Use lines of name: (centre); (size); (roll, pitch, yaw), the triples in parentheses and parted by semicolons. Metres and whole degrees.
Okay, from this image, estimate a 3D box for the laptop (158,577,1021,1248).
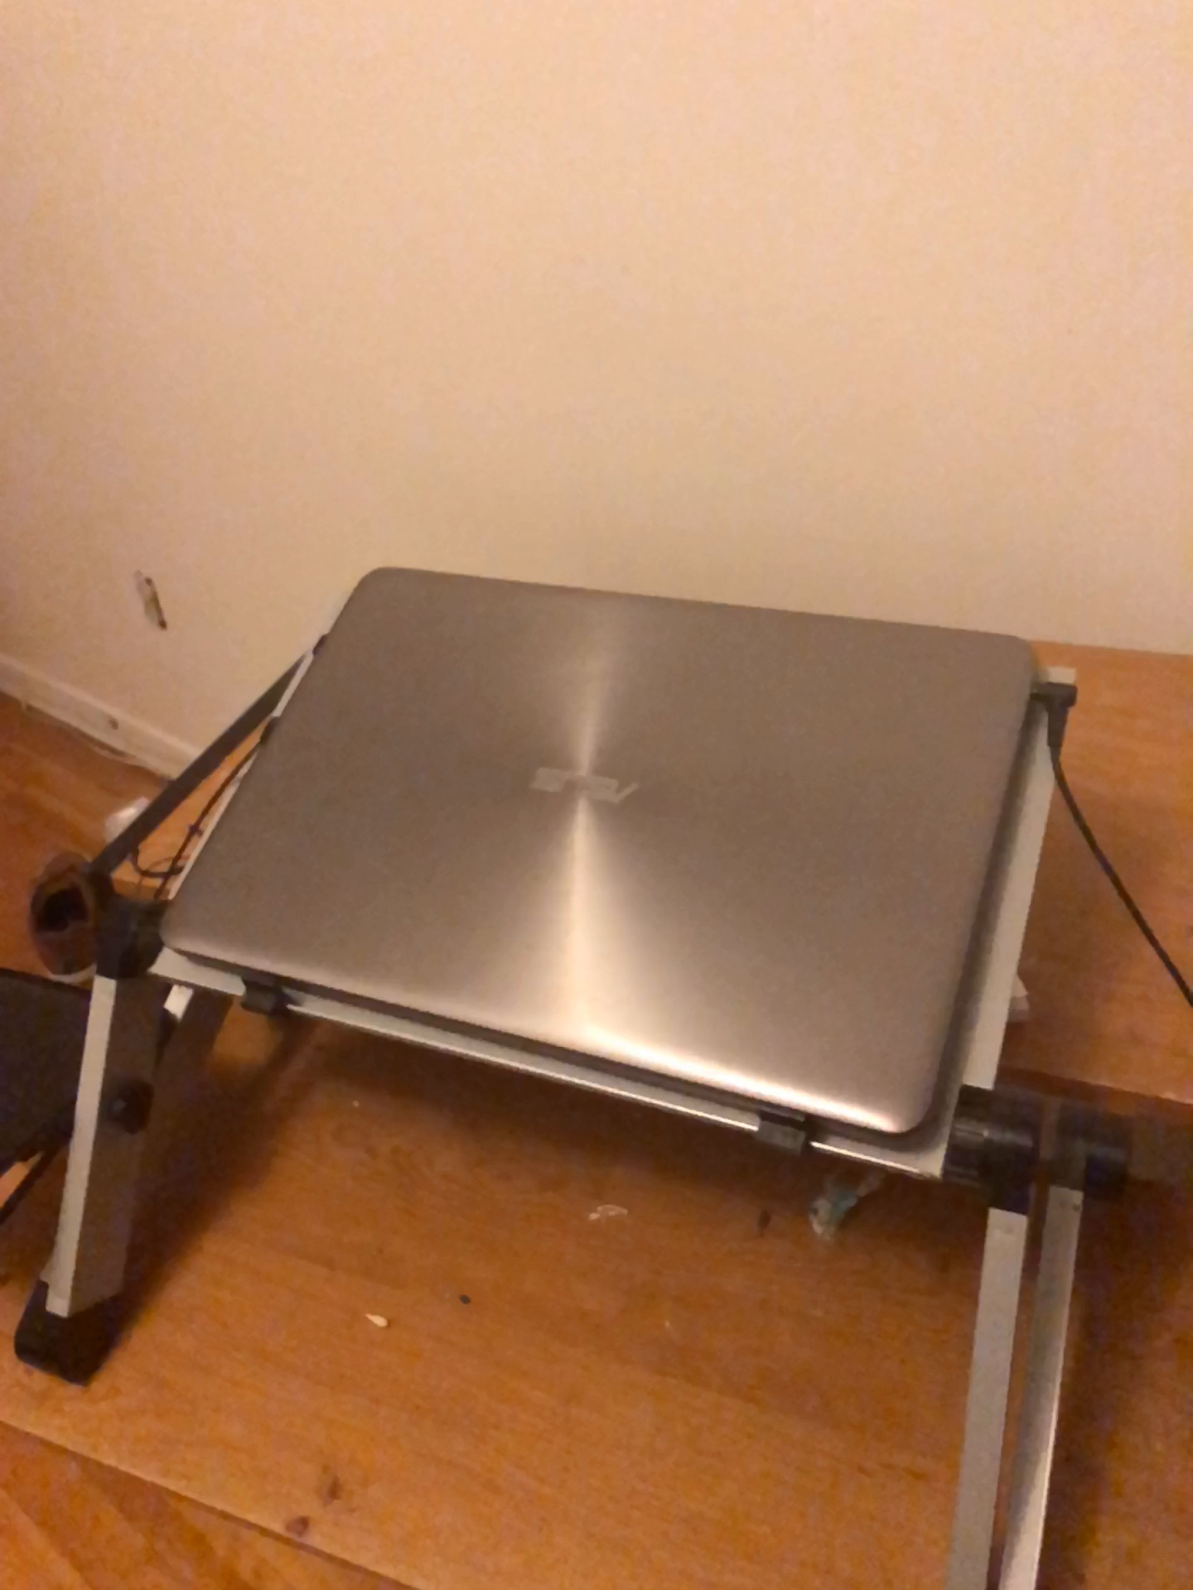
laptop: (-0.003, 0.029, 0.652); (0.362, 0.071, 0.250); (10, 55, 24)
